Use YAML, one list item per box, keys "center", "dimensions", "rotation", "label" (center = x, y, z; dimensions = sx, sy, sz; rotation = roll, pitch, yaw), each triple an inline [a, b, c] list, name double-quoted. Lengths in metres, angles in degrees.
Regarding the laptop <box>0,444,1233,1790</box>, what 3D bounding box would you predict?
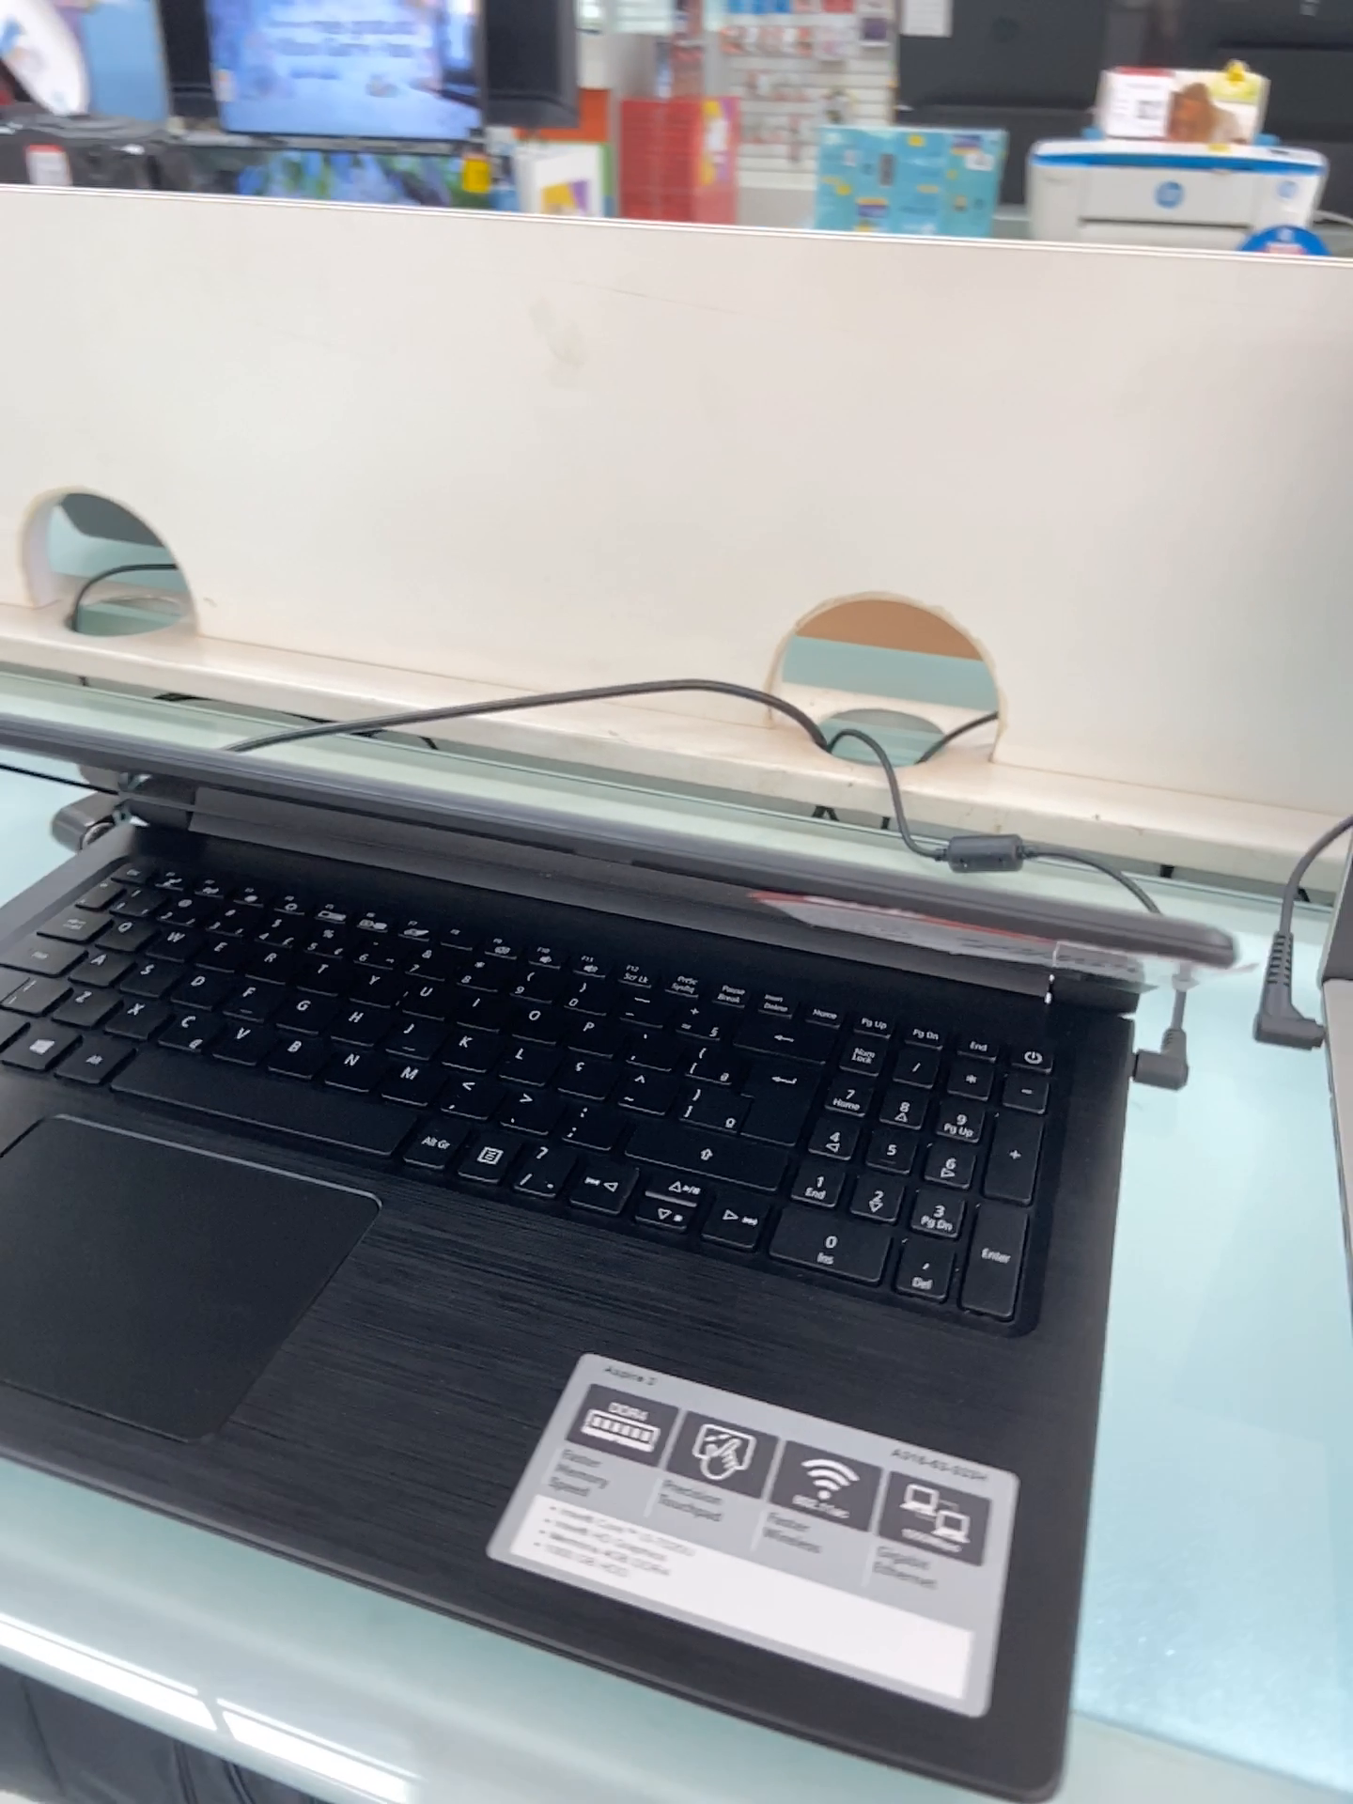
- center: [-0.072, 0.001, 0.341]
  dimensions: [0.367, 0.142, 0.234]
  rotation: [10, 33, 16]
  label: "laptop"
